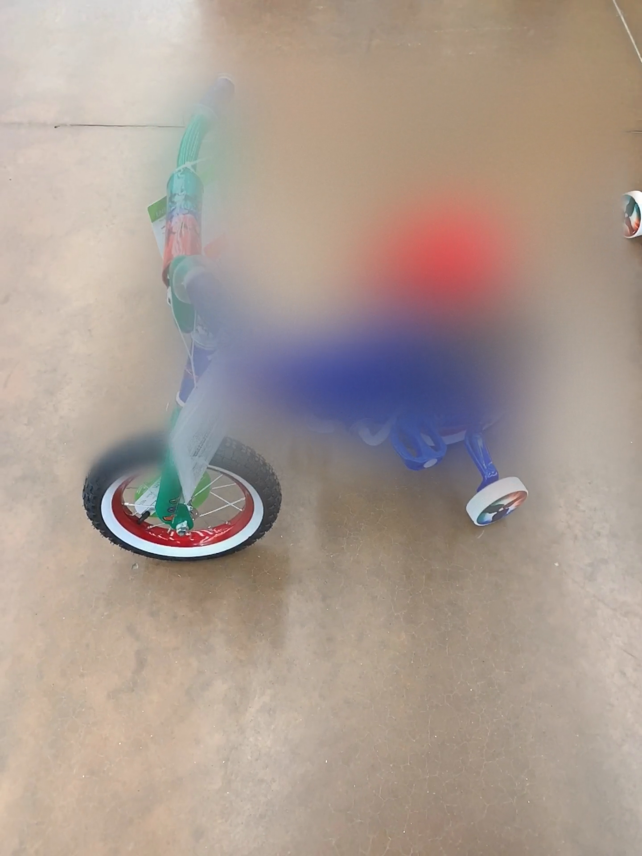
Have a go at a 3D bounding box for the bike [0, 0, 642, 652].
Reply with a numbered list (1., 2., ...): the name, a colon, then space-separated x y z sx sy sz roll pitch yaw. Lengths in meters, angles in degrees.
1. bike: 0.003 -0.130 0.935 0.775 0.670 0.461 -18 57 -13
